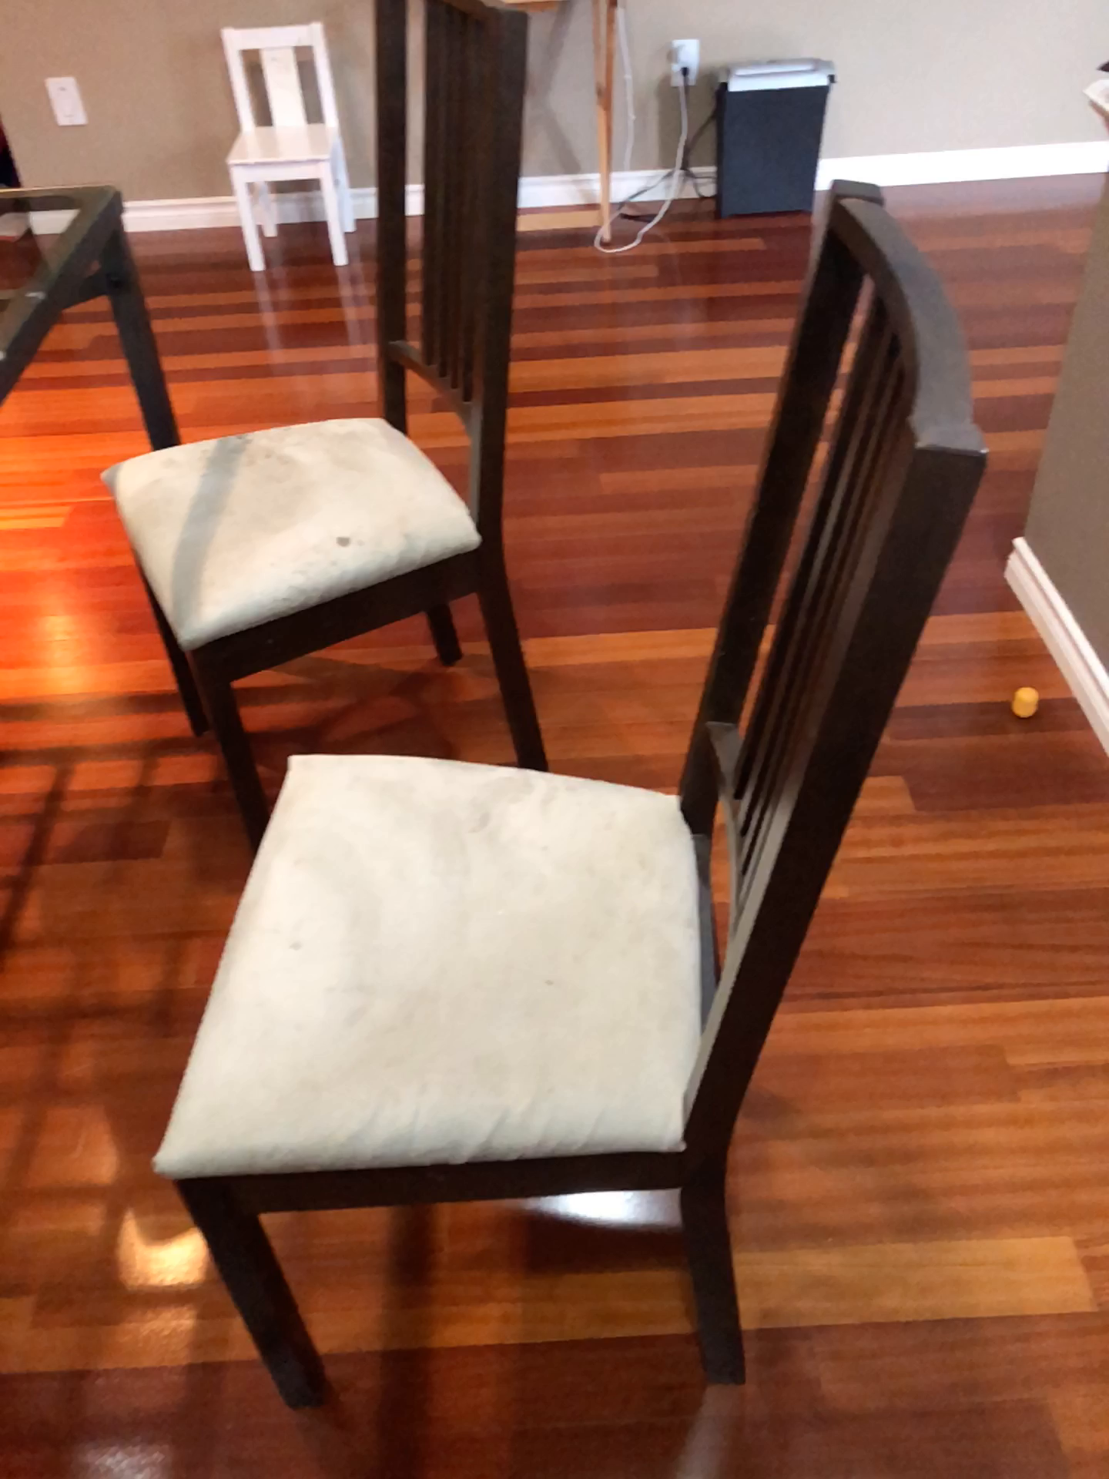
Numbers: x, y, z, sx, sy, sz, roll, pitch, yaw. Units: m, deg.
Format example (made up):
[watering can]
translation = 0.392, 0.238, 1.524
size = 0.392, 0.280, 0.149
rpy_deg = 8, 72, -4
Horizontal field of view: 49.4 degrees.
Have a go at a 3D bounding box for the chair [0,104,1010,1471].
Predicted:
[chair]
translation = -0.044, 0.130, 0.995
size = 0.510, 1.053, 0.493
rpy_deg = 1, 42, 5
